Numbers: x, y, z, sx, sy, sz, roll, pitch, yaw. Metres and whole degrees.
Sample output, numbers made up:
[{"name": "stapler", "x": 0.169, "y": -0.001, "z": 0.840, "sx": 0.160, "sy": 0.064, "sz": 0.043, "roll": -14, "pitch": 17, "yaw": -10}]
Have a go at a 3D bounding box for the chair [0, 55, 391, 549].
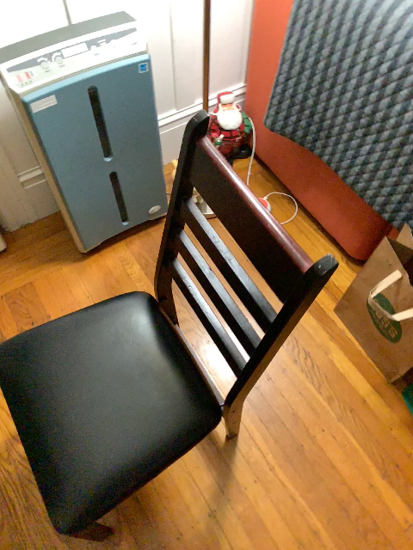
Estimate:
[{"name": "chair", "x": -0.177, "y": 0.189, "z": 0.835, "sx": 0.550, "sy": 0.868, "sz": 0.491, "roll": -30, "pitch": 64, "yaw": -17}]
